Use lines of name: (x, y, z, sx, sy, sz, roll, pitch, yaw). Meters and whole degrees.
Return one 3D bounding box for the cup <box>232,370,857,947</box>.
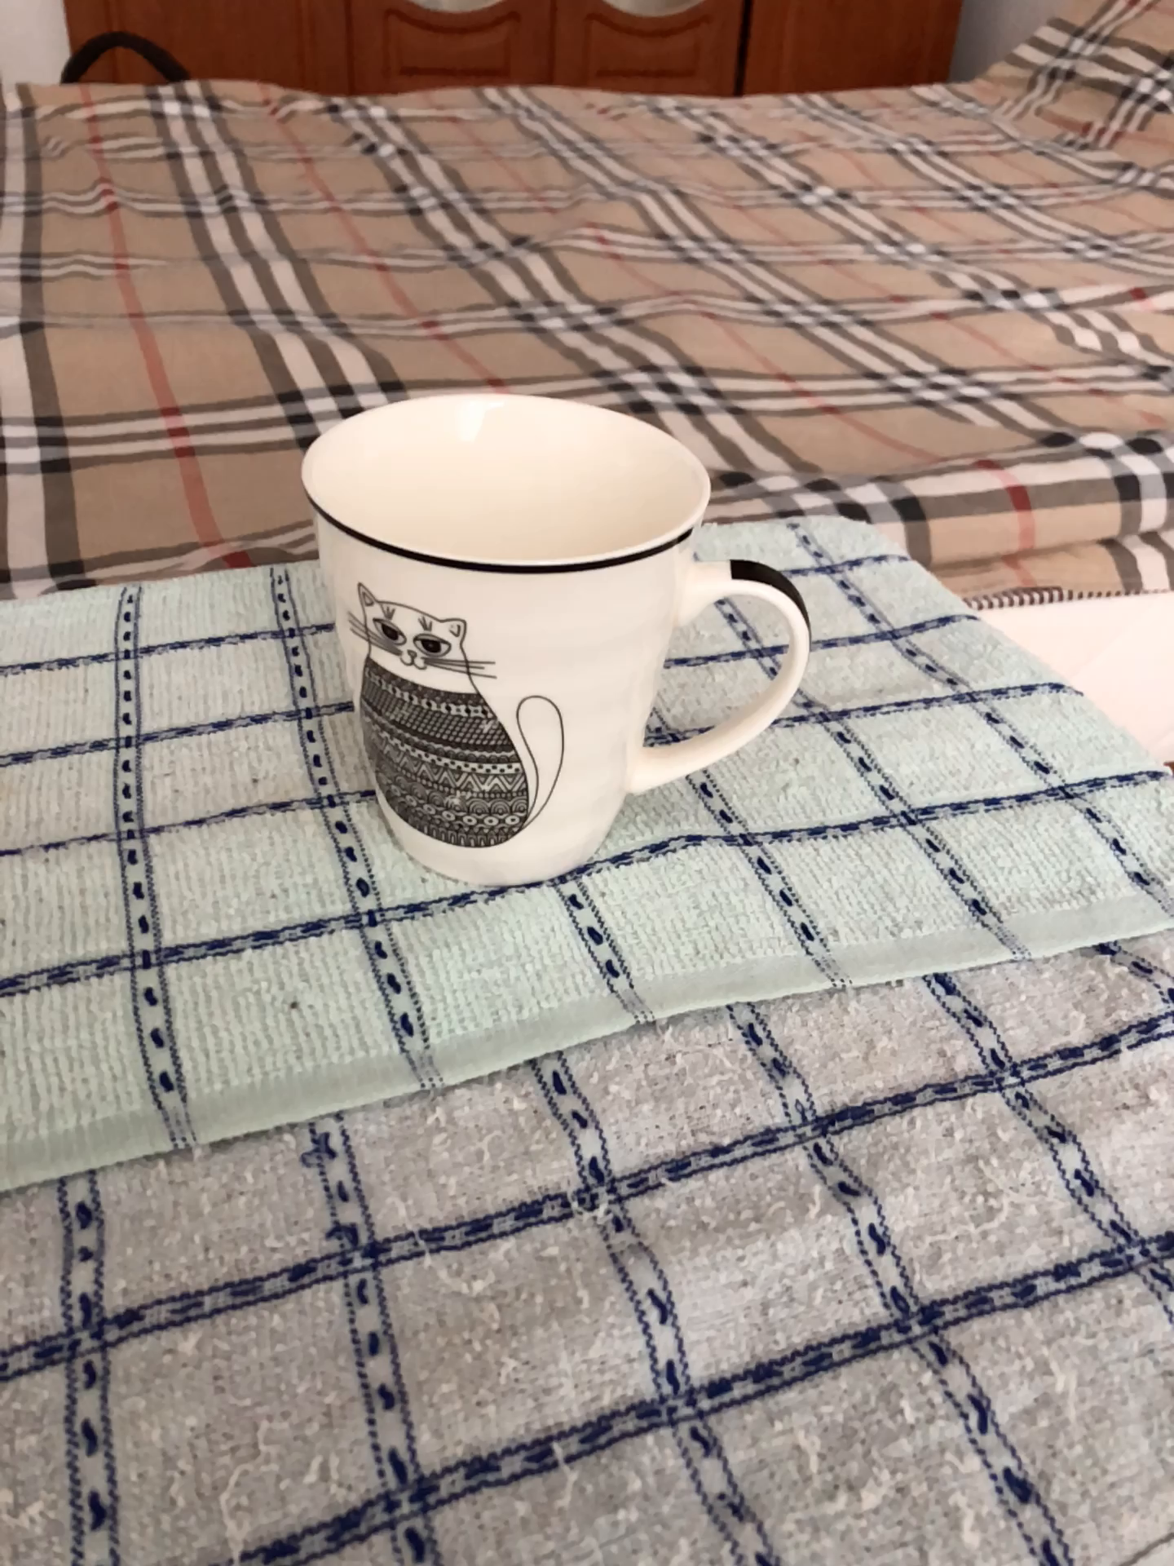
cup: (-0.005, -0.034, 0.314, 0.123, 0.090, 0.091, 8, 37, 6)
